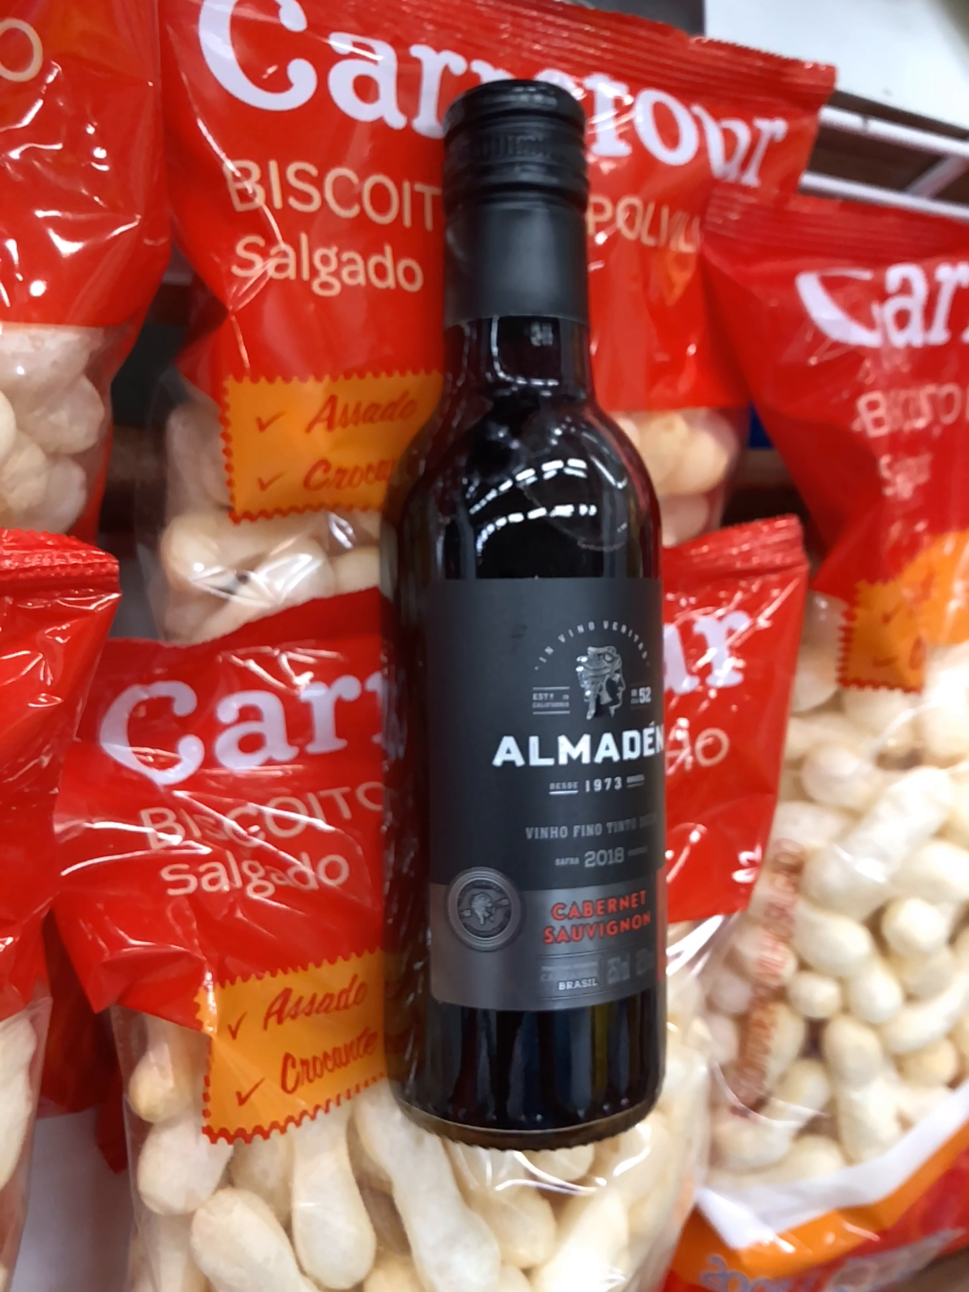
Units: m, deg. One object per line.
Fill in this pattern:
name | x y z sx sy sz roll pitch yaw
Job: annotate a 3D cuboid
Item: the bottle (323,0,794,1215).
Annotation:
bottle | 0.012 -0.014 0.205 0.060 0.050 0.200 -2 88 -32
